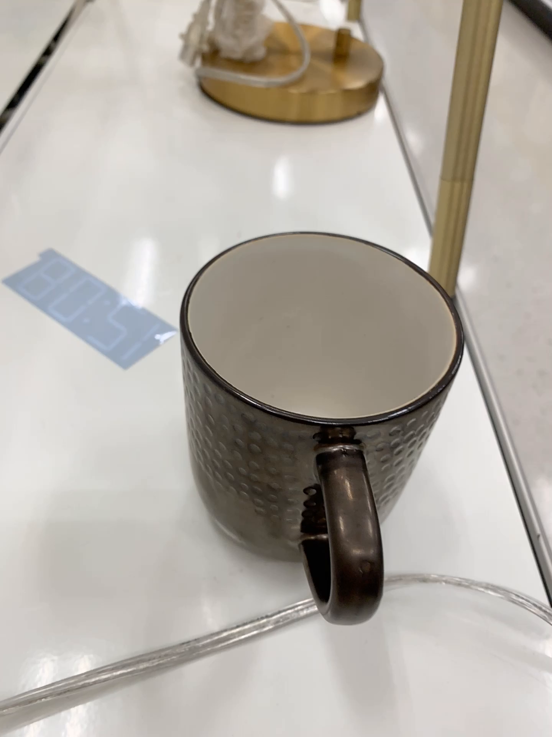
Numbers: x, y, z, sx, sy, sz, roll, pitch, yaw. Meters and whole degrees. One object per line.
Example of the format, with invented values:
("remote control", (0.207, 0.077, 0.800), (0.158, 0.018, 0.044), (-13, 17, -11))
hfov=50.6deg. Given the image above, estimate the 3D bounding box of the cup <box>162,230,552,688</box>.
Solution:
("cup", (0.012, 0.028, 0.212), (0.095, 0.093, 0.131), (-1, 48, -7))
